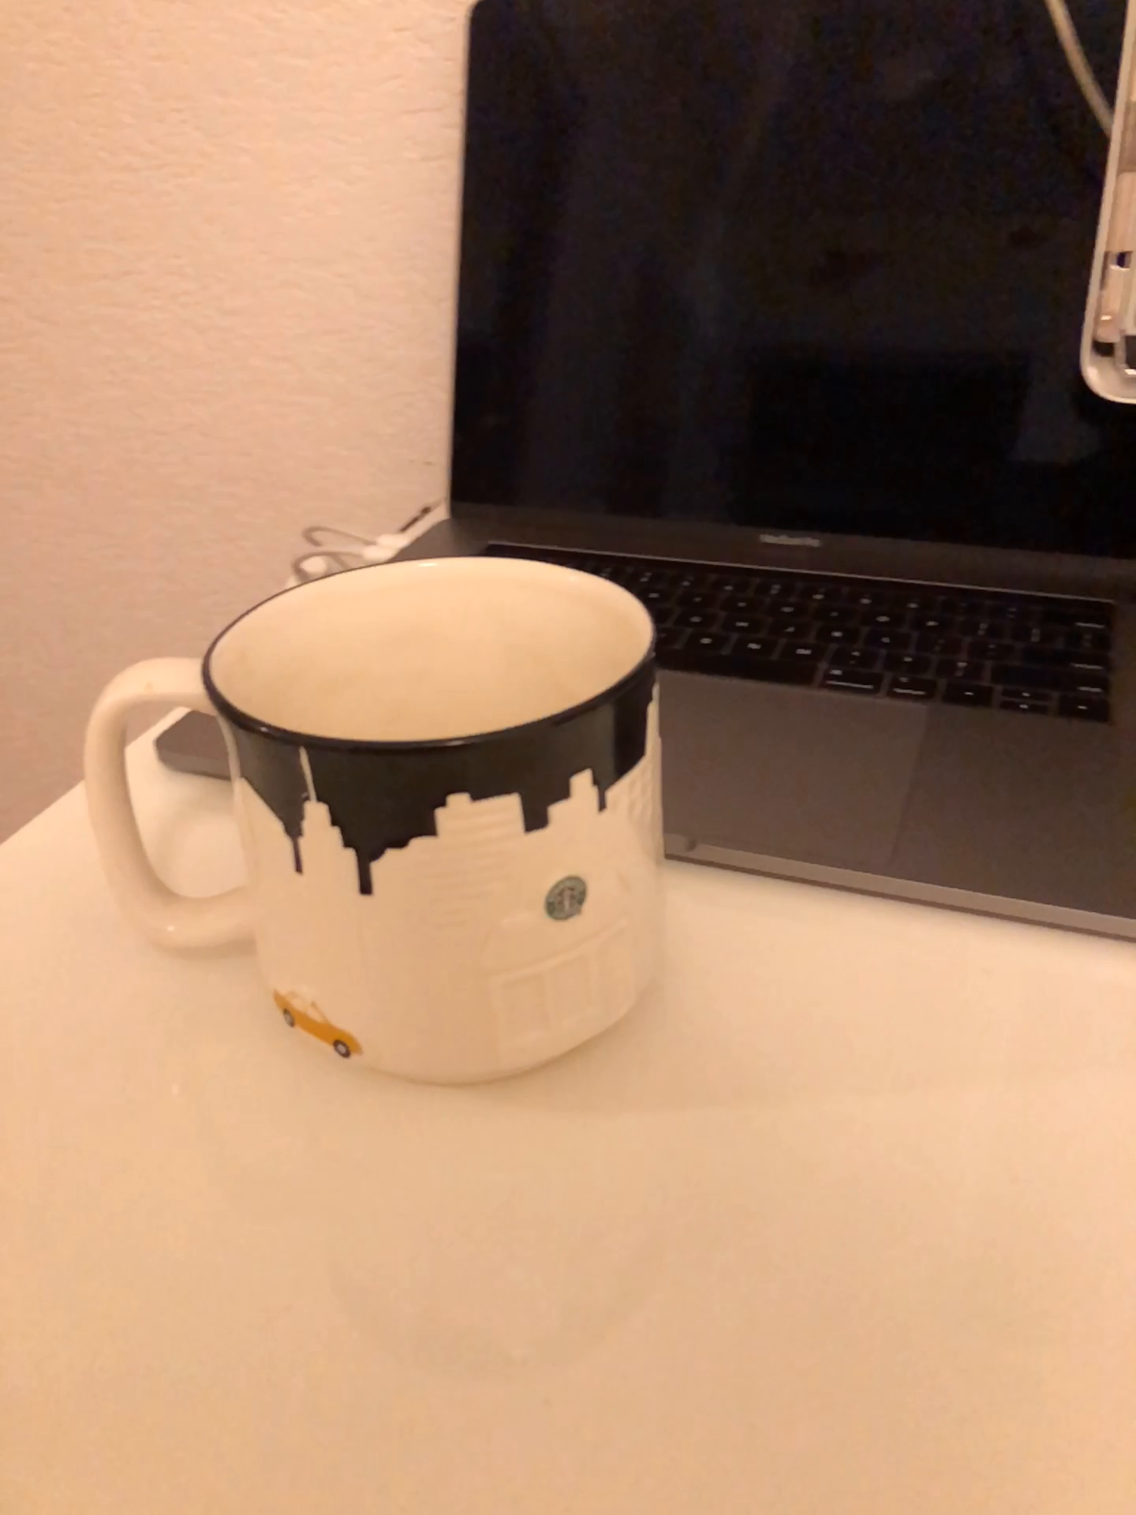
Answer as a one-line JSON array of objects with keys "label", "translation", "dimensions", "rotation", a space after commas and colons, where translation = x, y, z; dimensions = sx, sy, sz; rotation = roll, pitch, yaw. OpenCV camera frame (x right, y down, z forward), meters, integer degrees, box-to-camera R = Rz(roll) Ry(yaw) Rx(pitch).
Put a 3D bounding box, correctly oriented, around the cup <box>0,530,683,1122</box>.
[{"label": "cup", "translation": [-0.047, 0.014, 0.320], "dimensions": [0.150, 0.109, 0.101], "rotation": [0, 30, 6]}]
